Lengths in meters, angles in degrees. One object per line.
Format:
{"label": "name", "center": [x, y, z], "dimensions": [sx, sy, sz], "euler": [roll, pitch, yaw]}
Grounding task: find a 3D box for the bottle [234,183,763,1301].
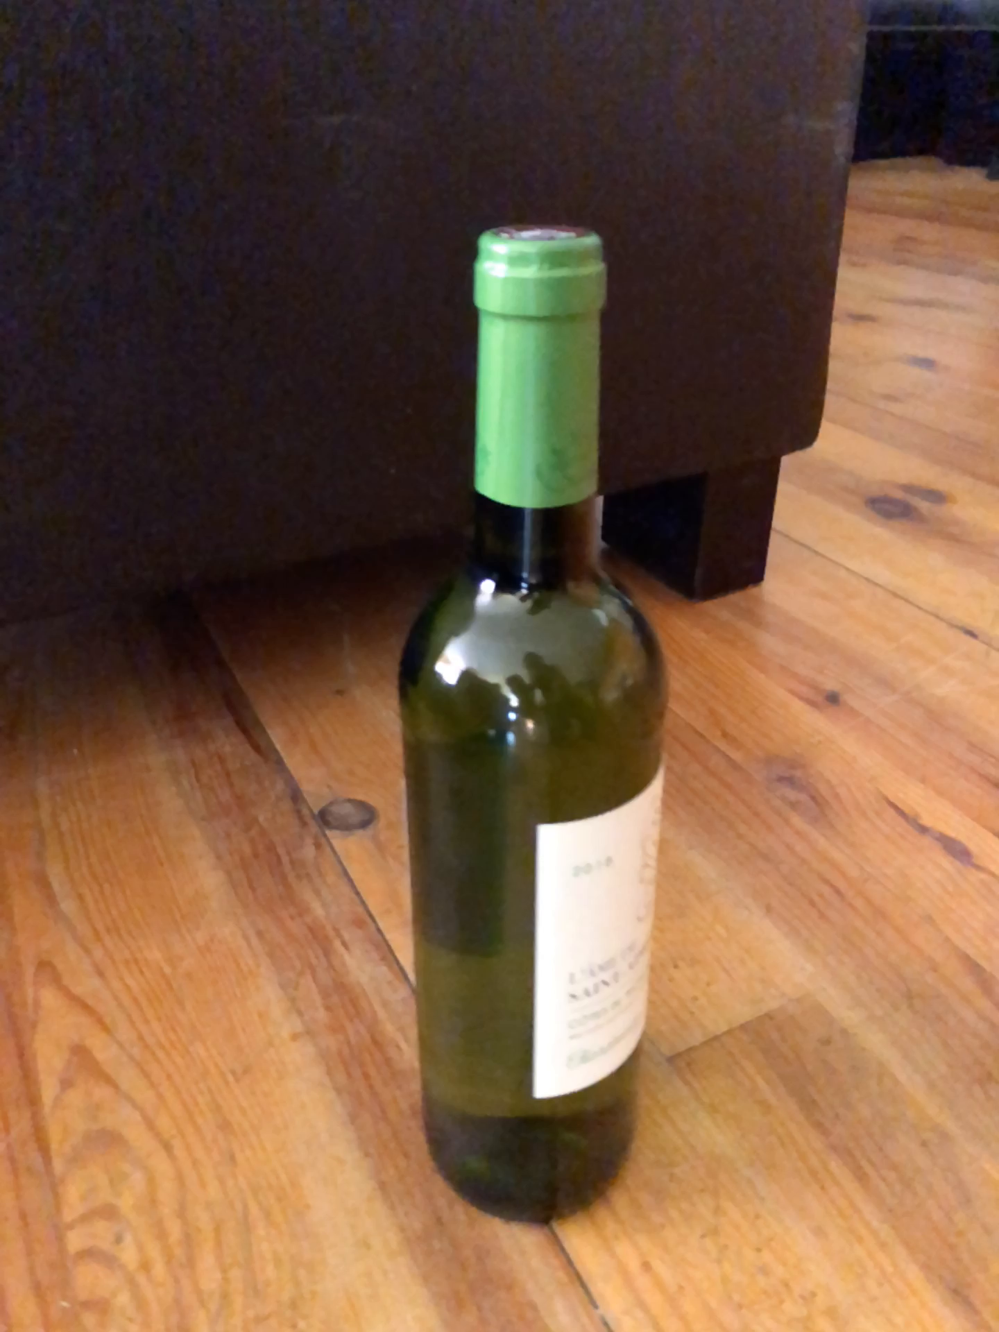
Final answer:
{"label": "bottle", "center": [0.003, 0.033, 0.308], "dimensions": [0.080, 0.298, 0.080], "euler": [-1, 29, 1]}
